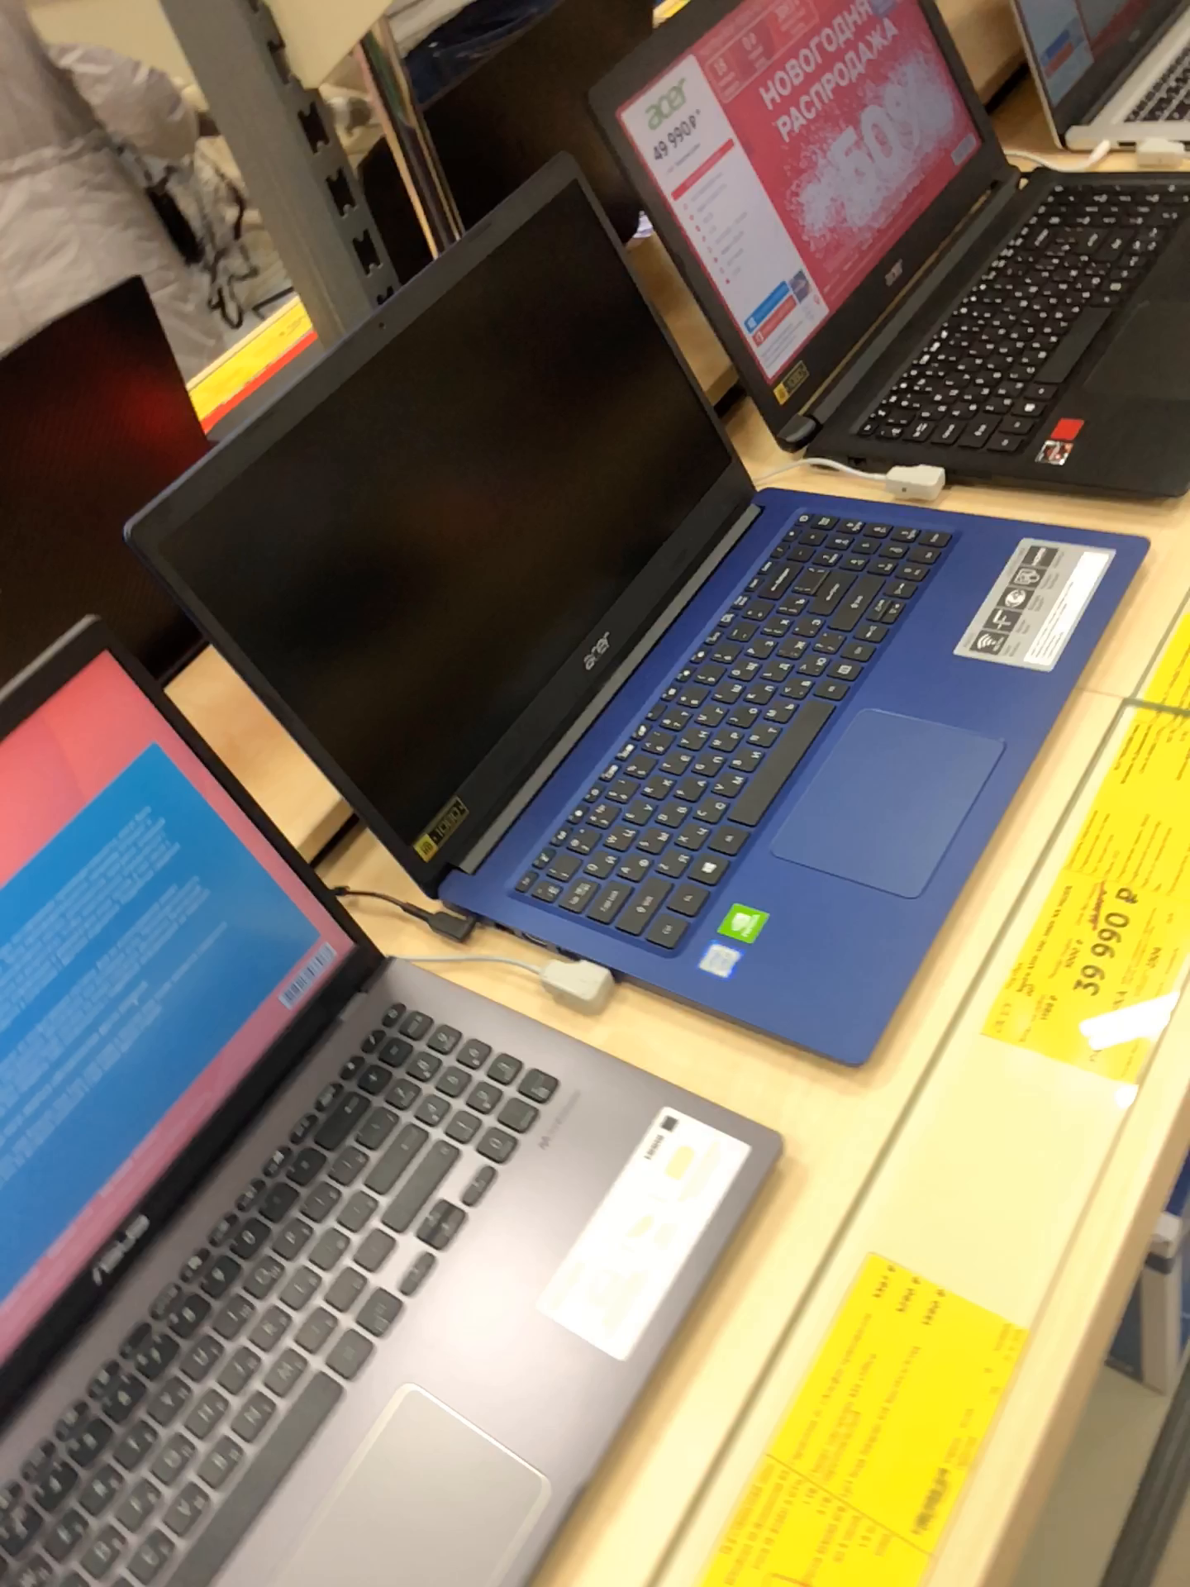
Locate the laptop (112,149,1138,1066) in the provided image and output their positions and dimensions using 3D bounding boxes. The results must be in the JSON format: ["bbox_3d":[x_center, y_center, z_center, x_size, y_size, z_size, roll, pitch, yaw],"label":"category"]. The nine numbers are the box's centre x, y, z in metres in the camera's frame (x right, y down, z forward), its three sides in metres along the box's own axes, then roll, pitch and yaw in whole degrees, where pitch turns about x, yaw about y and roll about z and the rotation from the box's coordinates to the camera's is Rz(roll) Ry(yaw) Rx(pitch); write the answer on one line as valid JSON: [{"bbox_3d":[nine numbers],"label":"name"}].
[{"bbox_3d":[0.044,-0.128,0.654,0.328,0.221,0.358,17,55,32],"label":"laptop"}]
